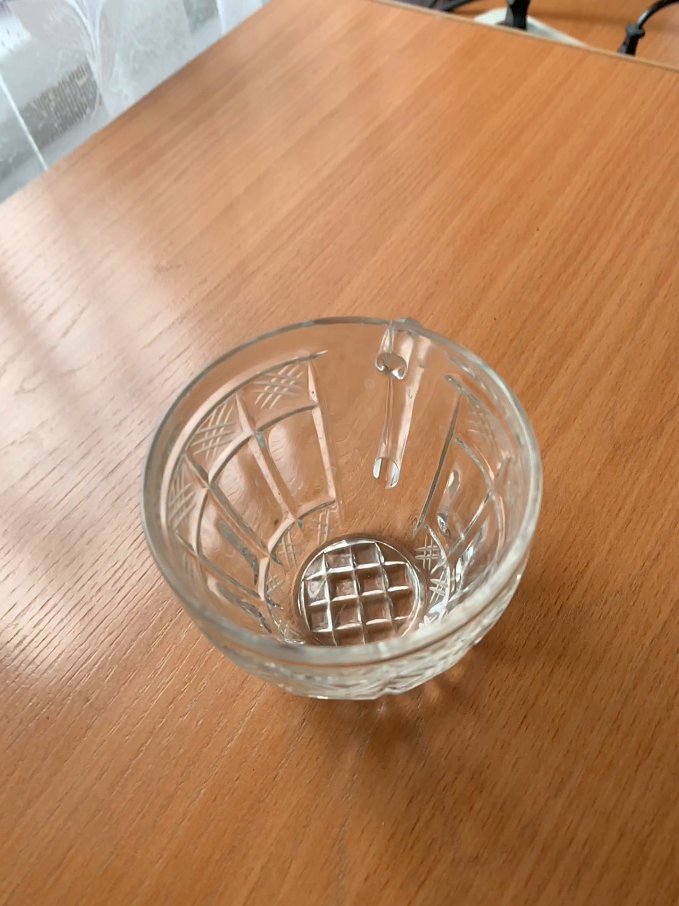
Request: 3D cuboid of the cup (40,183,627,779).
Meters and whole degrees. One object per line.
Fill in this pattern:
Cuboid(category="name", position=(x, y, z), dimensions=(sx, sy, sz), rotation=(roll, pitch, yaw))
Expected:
Cuboid(category="cup", position=(0.006, 0.004, 0.166), dimensions=(0.082, 0.066, 0.101), rotation=(19, 61, 14))
